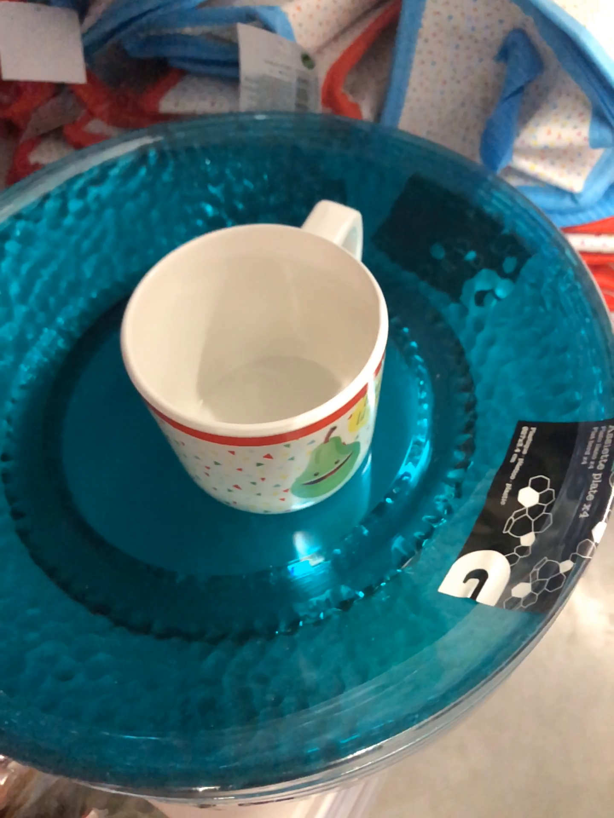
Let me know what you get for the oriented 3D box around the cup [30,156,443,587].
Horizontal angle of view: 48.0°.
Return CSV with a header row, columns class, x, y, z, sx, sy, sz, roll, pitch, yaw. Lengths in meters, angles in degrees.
class,x,y,z,sx,sy,sz,roll,pitch,yaw
cup,-0.015,-0.014,0.218,0.076,0.059,0.103,21,62,14
